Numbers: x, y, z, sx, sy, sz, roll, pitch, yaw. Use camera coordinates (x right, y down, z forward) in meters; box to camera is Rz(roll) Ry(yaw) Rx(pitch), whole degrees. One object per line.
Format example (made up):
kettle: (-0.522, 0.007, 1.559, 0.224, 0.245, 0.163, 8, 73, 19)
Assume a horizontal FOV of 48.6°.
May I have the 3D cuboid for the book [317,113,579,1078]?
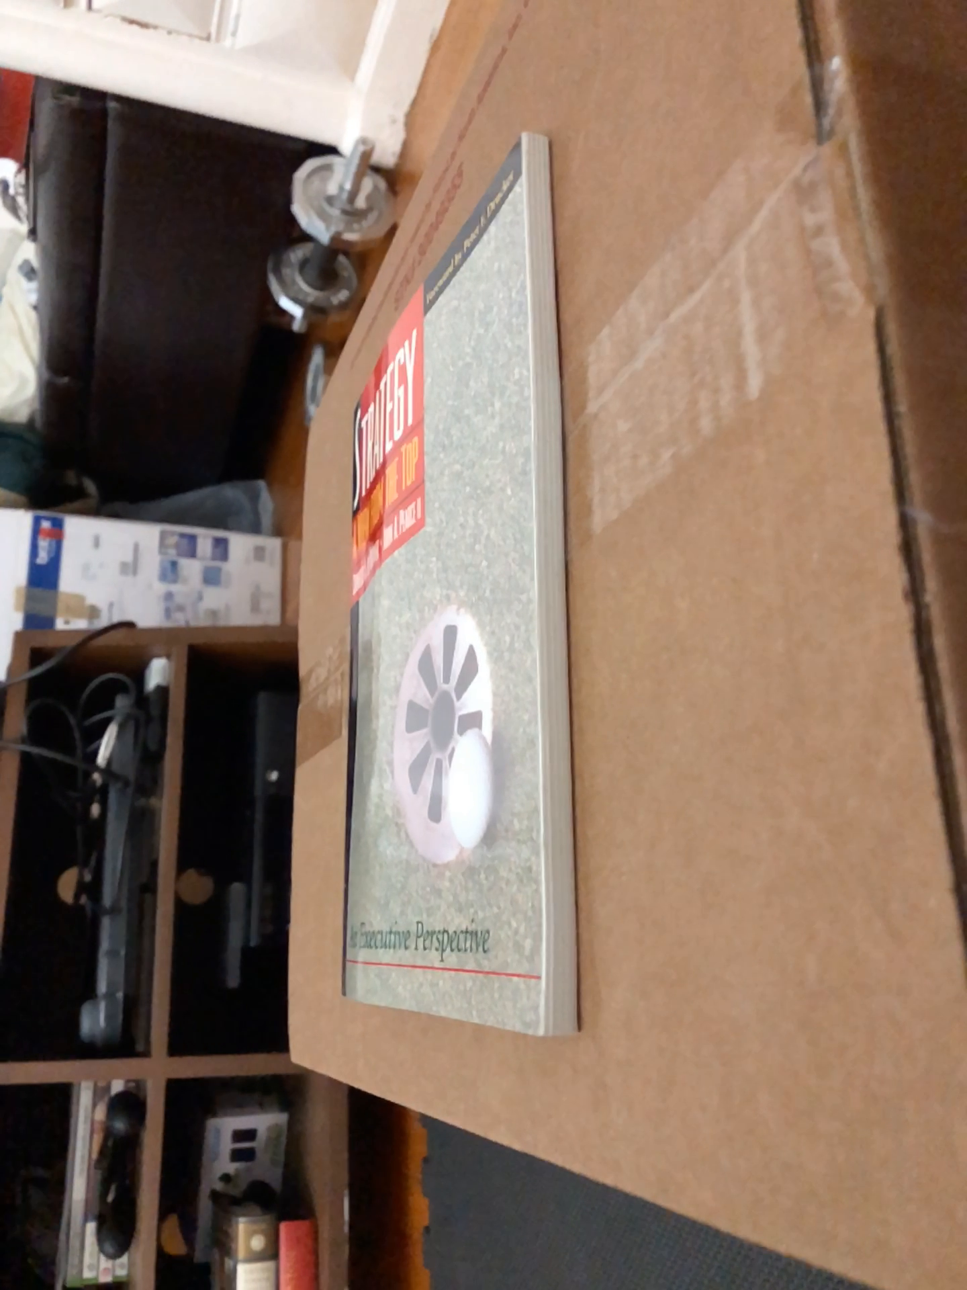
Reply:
book: (-0.022, -0.003, 0.340, 0.181, 0.020, 0.240, 145, 126, -65)
